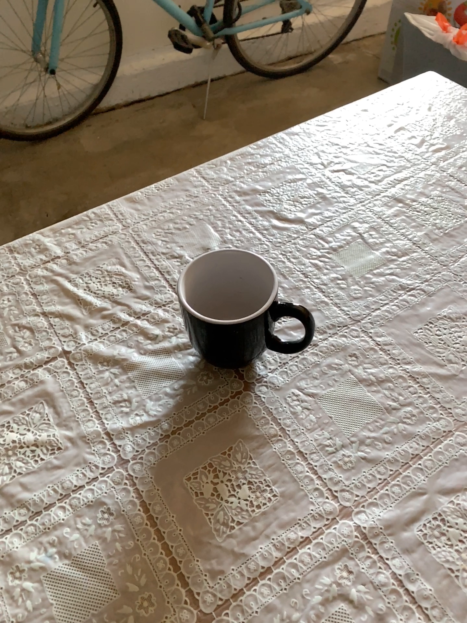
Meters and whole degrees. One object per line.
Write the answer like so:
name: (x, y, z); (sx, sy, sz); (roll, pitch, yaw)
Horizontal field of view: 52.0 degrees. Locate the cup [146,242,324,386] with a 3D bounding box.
cup: (0.009, 0.001, 0.983); (0.320, 0.189, 0.180); (7, 36, 6)
